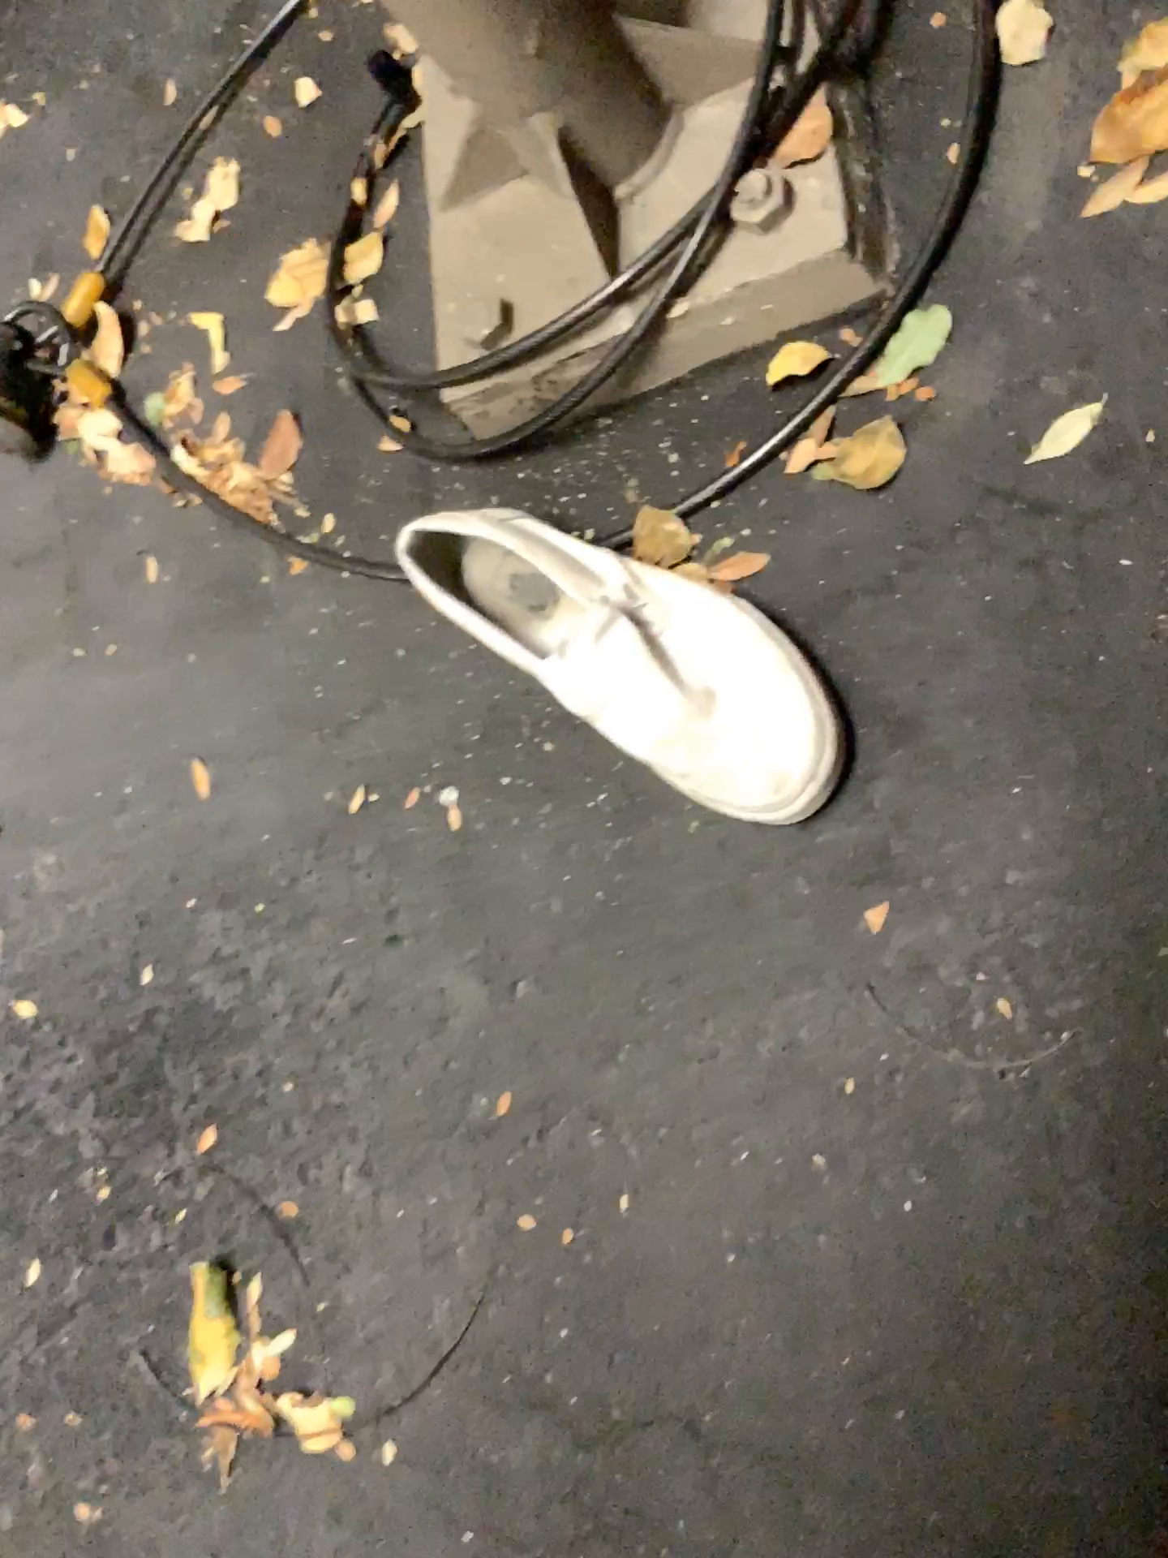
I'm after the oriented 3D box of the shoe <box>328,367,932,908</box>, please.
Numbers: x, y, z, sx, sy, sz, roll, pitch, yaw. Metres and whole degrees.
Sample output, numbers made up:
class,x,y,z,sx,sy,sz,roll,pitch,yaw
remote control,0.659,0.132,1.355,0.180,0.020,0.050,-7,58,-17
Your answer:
class,x,y,z,sx,sy,sz,roll,pitch,yaw
shoe,0.014,-0.081,0.695,0.310,0.100,0.120,42,100,30
